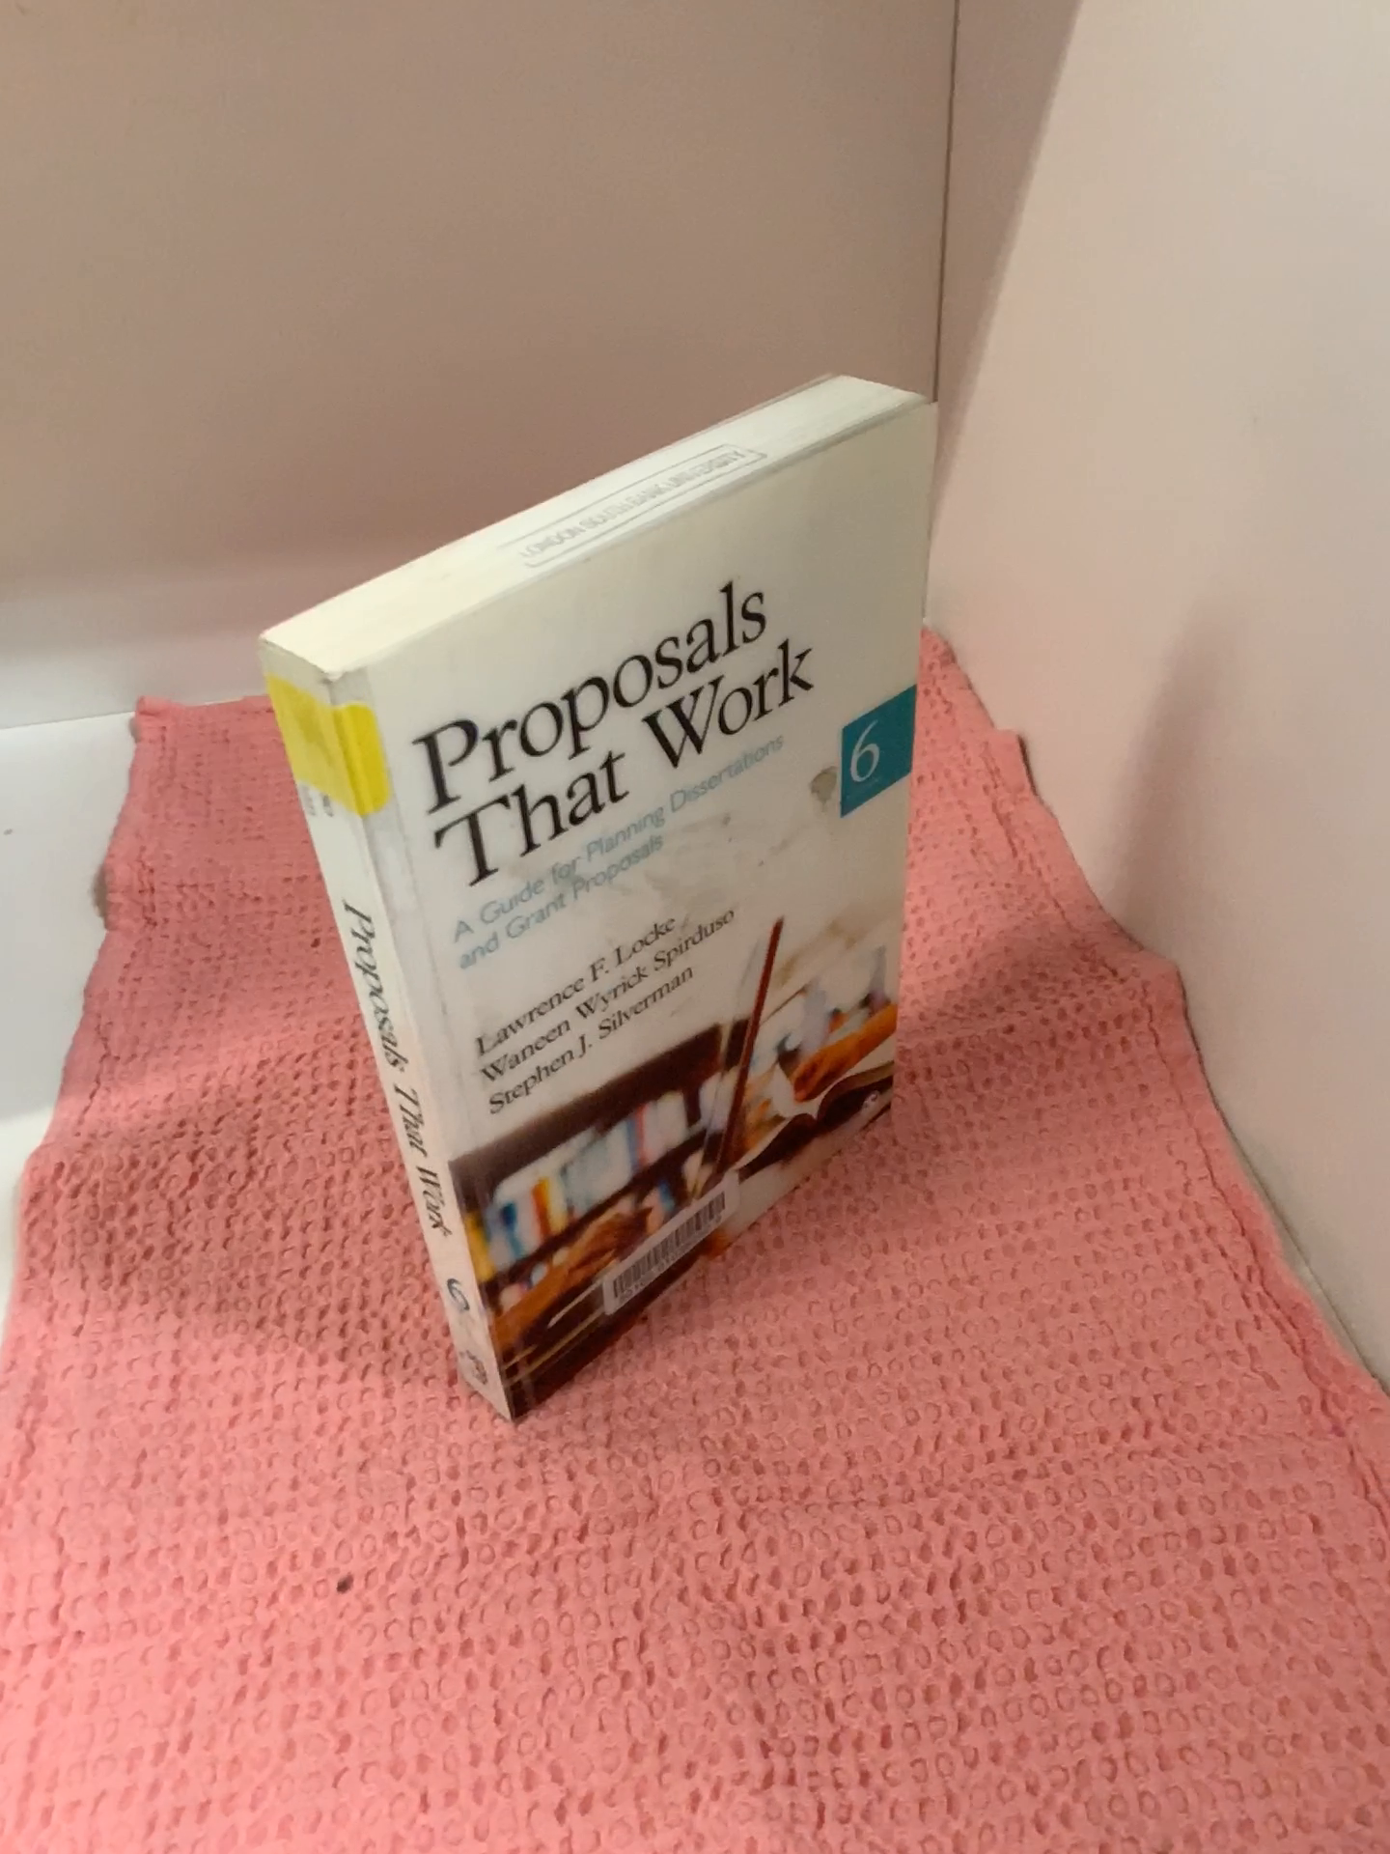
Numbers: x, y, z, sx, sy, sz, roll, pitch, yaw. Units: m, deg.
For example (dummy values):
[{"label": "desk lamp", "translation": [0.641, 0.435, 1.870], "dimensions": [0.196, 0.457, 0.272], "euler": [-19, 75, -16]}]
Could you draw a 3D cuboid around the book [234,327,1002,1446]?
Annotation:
[{"label": "book", "translation": [0.001, -0.002, 0.362], "dimensions": [0.181, 0.238, 0.030], "euler": [-34, 49, -31]}]
